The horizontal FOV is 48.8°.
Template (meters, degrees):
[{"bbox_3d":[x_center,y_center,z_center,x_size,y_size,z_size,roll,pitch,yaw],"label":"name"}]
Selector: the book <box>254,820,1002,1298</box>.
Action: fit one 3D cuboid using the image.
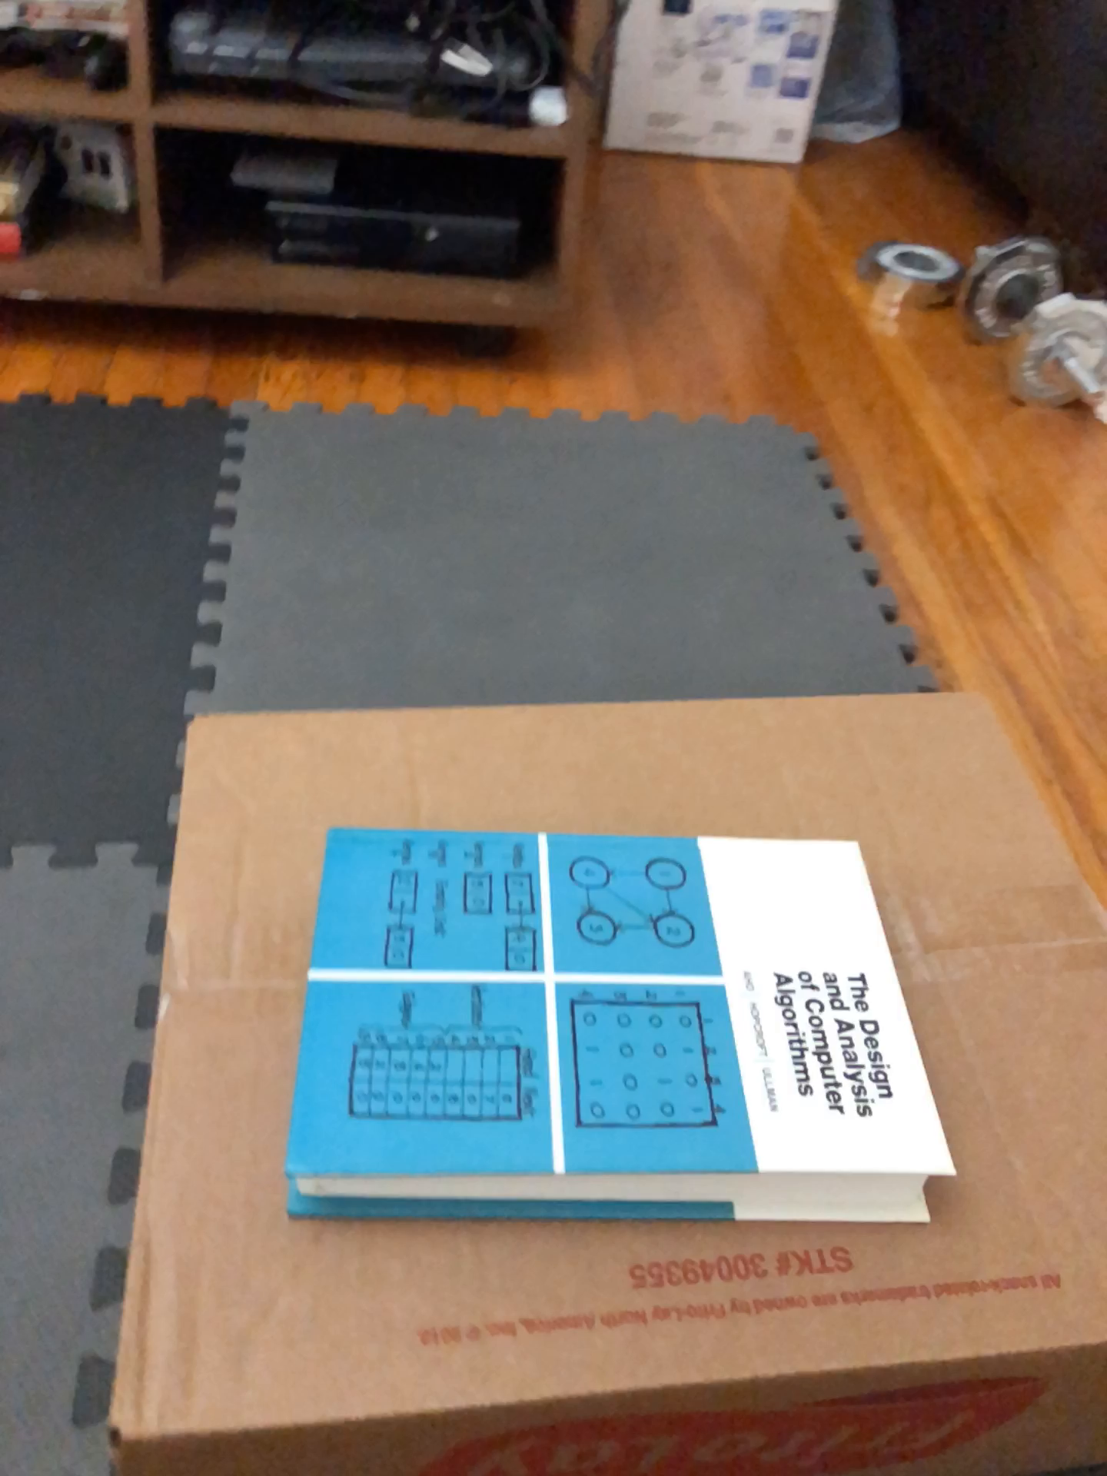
[{"bbox_3d":[0.025,0.124,0.503,0.260,0.040,0.191,3,44,-5],"label":"book"}]
